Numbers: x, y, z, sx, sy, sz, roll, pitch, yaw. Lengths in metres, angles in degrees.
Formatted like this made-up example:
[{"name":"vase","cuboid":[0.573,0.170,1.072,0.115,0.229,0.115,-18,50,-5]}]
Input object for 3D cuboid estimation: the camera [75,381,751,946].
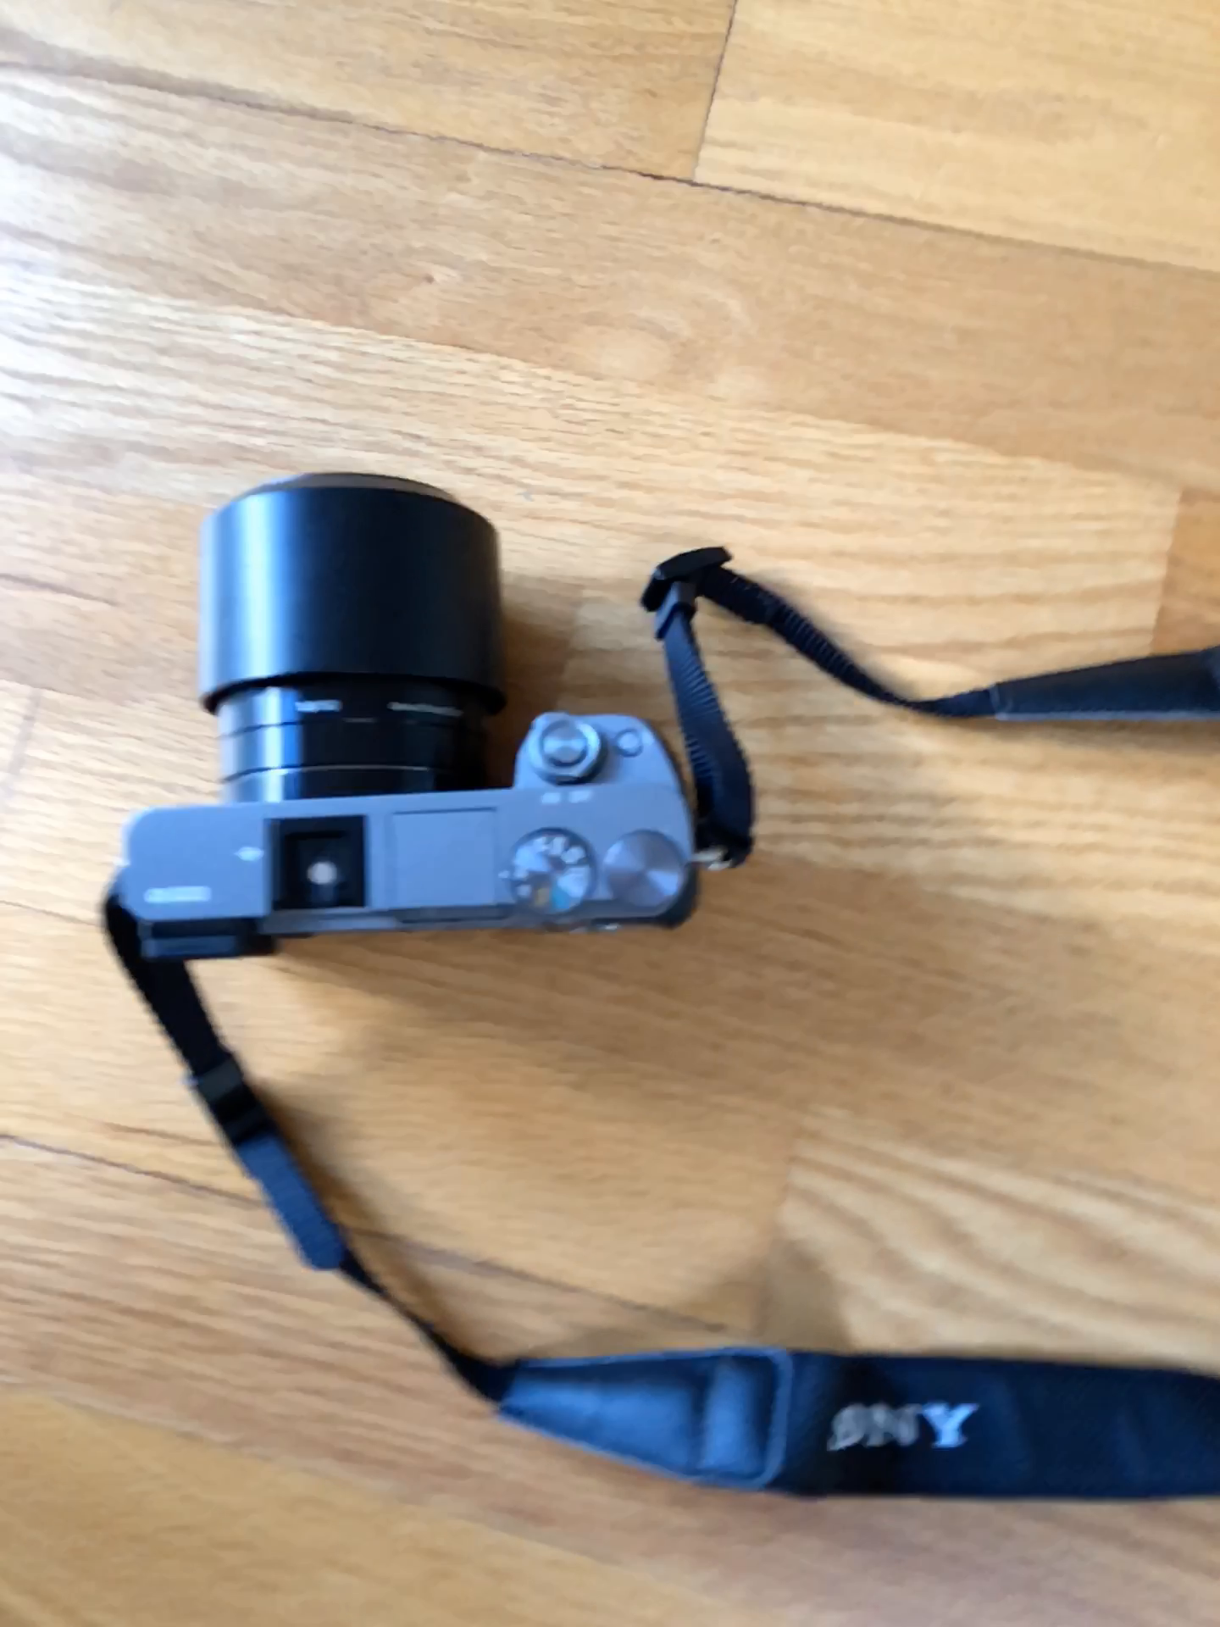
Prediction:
[{"name":"camera","cuboid":[-0.040,-0.027,0.312,0.136,0.079,0.106,-4,83,4]}]
